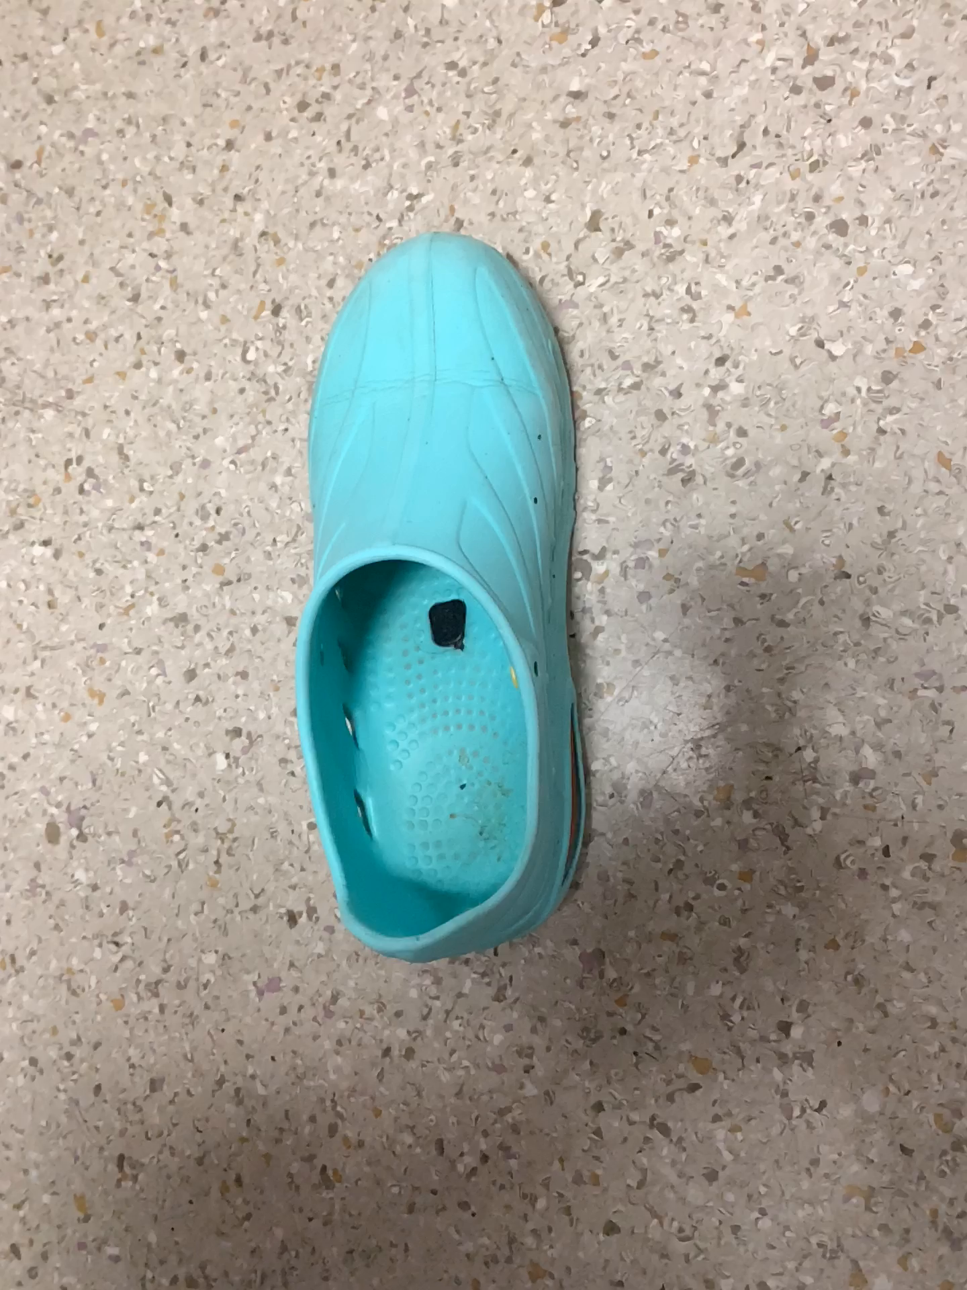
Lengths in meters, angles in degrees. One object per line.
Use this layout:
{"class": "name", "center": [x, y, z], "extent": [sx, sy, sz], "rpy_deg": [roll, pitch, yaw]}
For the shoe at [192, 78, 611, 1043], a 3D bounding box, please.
{"class": "shoe", "center": [-0.023, -0.023, 0.348], "extent": [0.105, 0.105, 0.275], "rpy_deg": [-3, 87, 18]}
